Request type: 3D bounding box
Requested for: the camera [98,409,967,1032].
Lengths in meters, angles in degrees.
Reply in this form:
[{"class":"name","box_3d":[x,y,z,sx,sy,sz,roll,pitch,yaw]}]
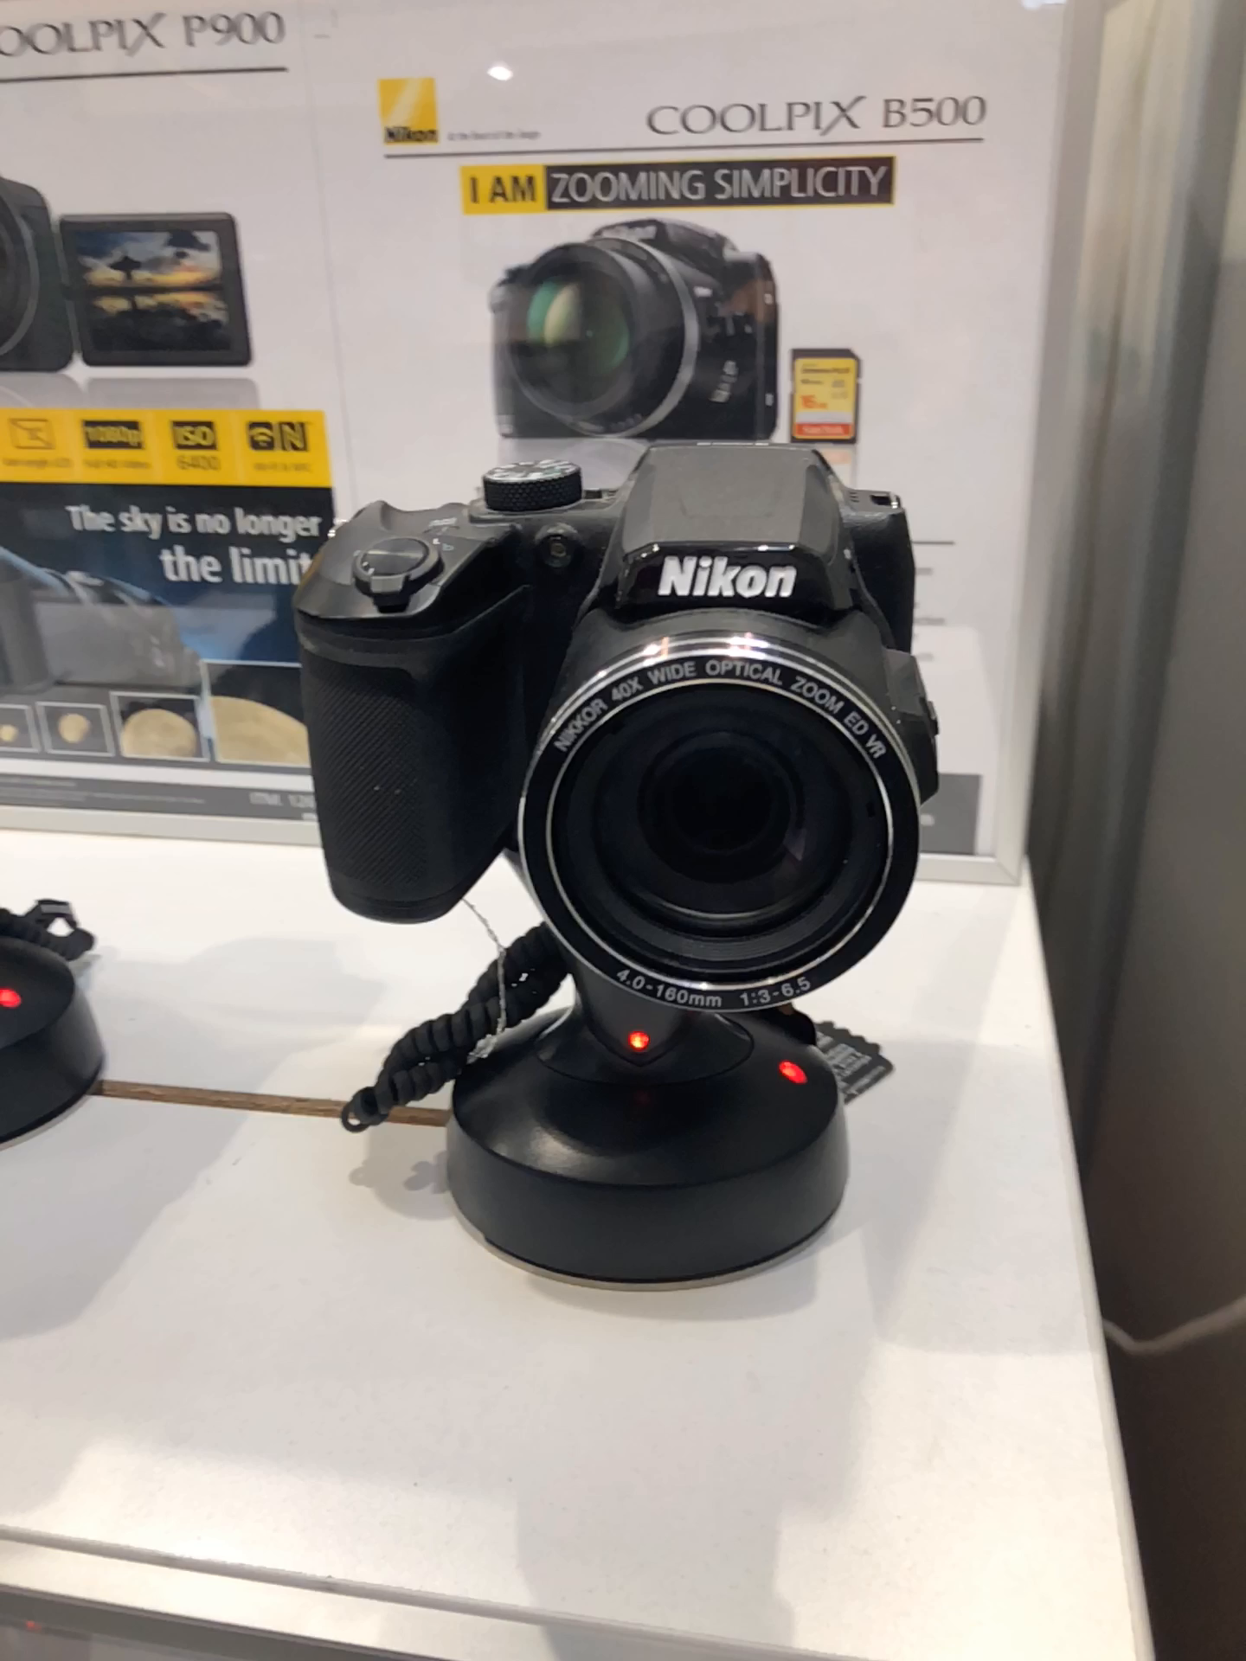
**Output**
[{"class":"camera","box_3d":[-0.008,-0.026,0.244,0.120,0.079,0.091,1,25,7]}]
